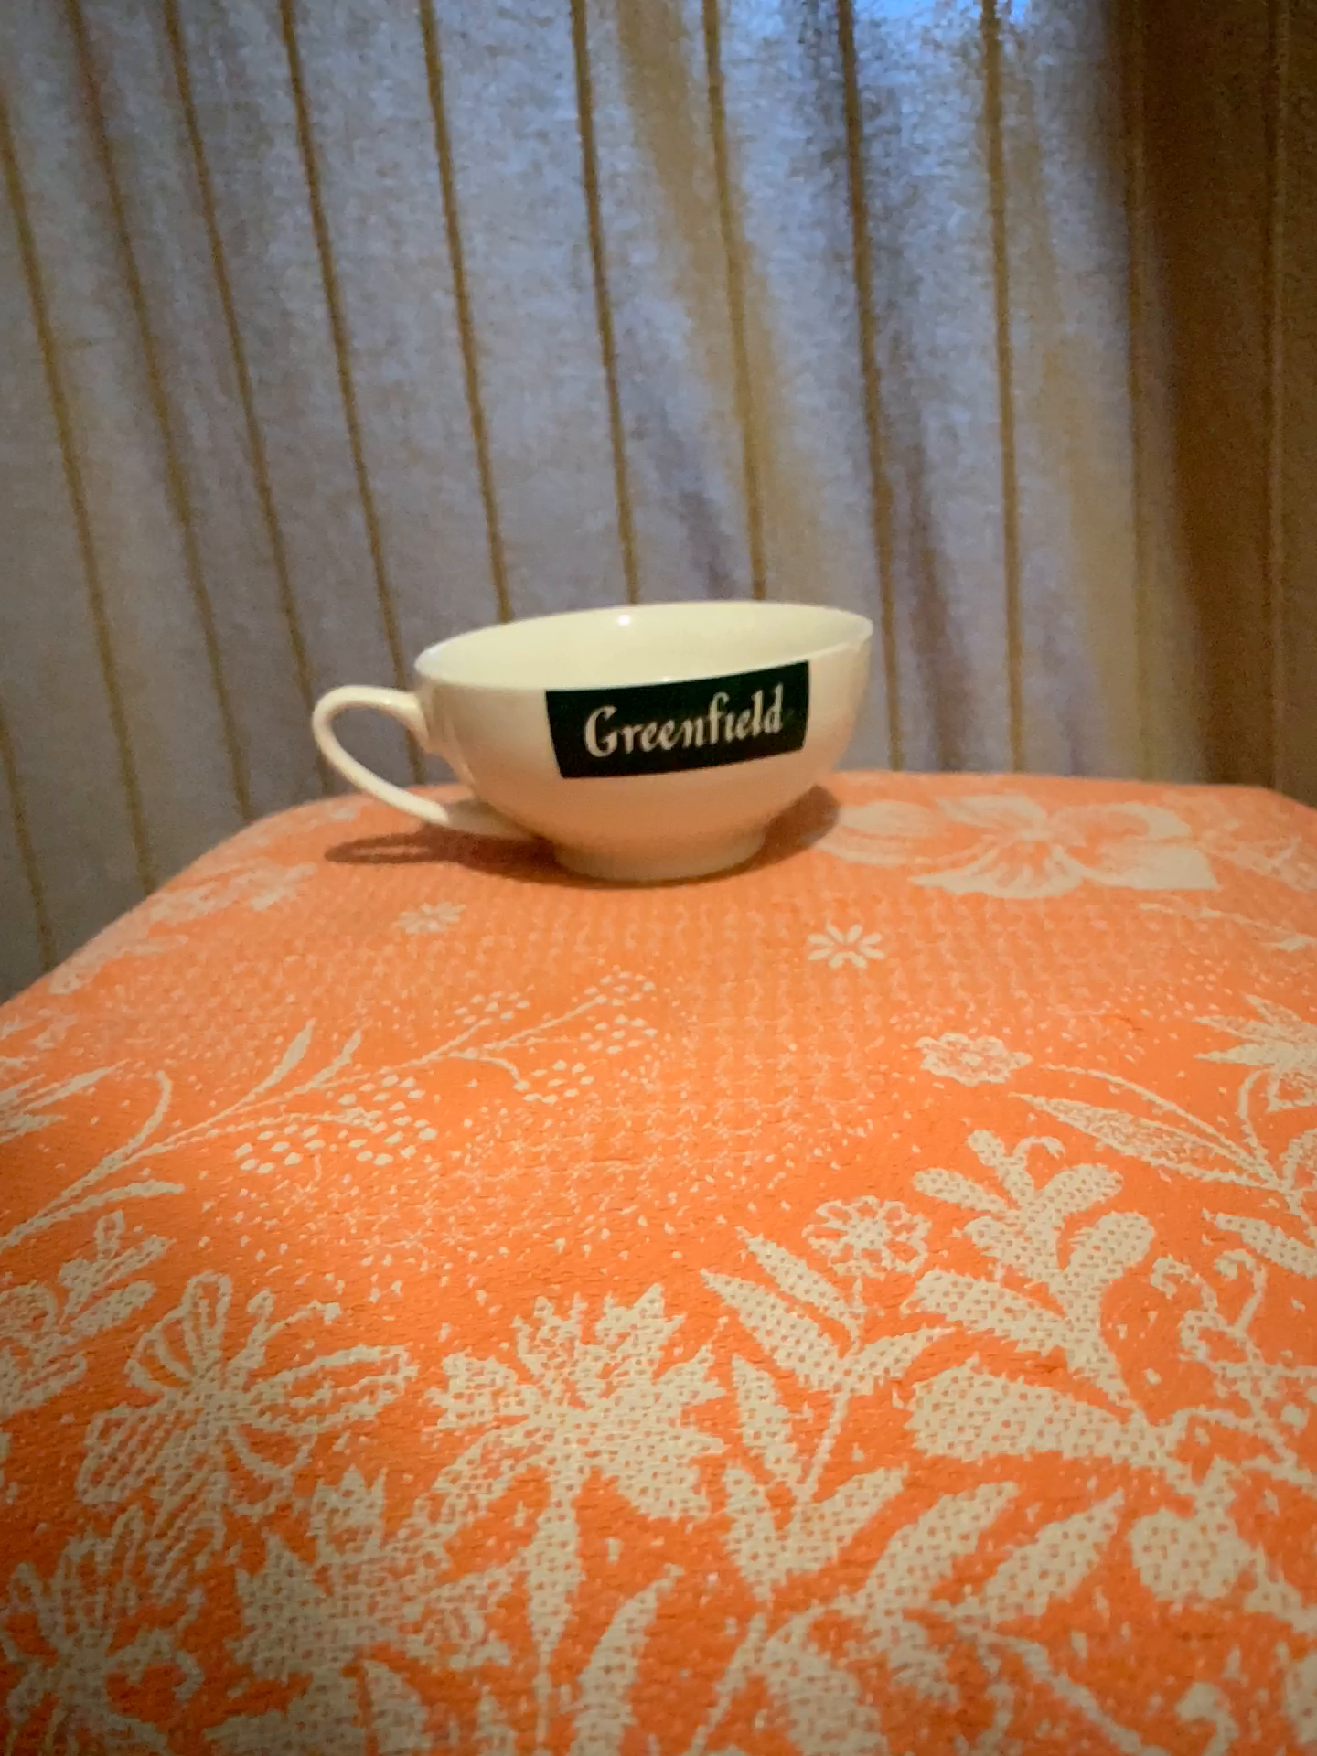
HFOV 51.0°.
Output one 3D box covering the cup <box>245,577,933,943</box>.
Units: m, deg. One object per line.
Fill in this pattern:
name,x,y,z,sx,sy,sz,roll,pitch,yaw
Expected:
cup,-0.019,-0.036,0.335,0.136,0.056,0.115,-4,19,-7
